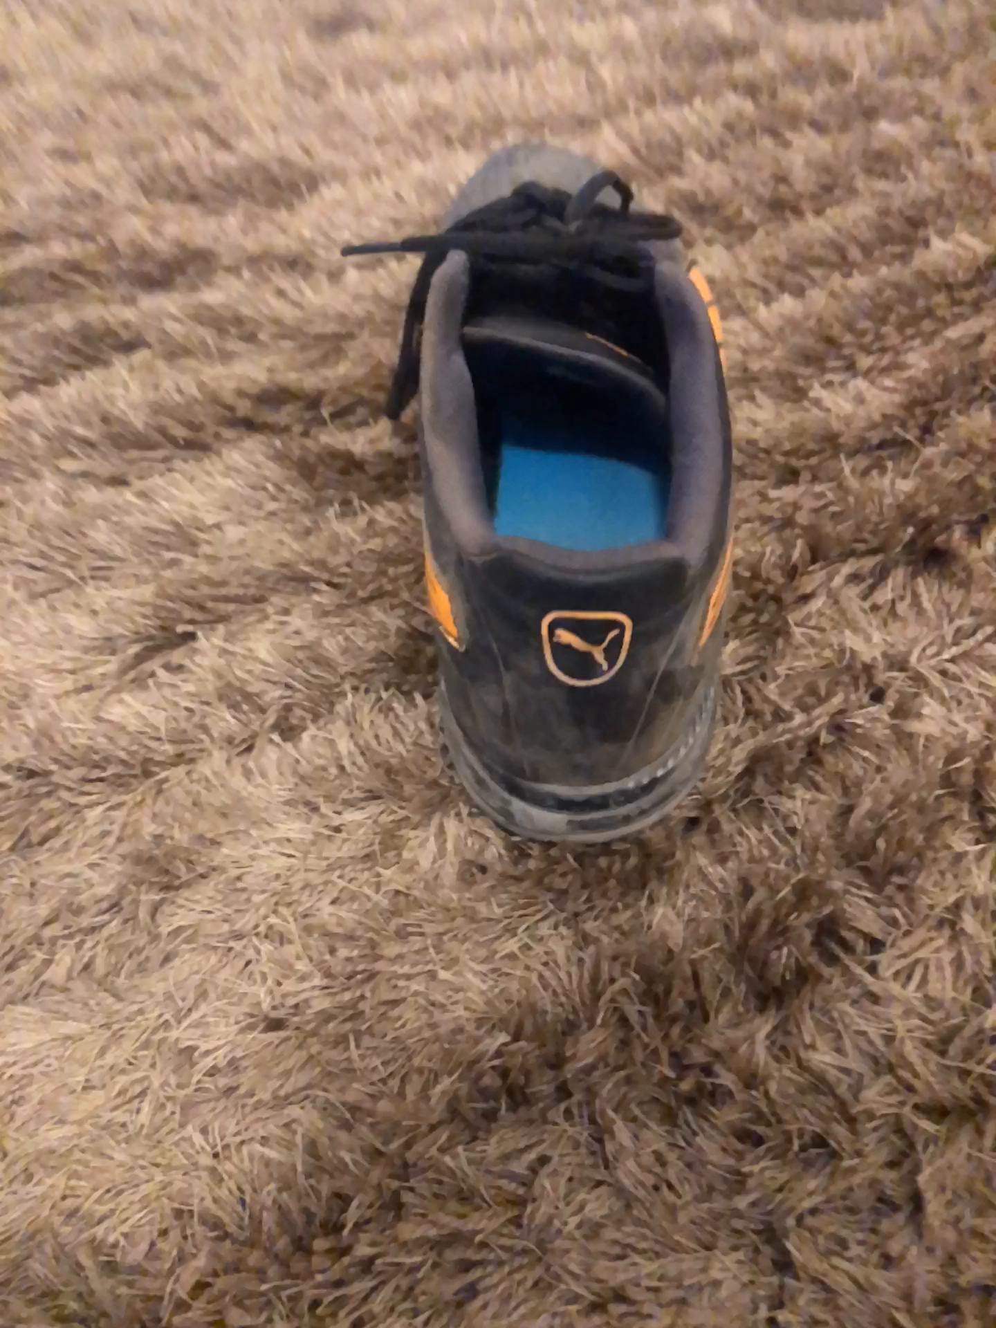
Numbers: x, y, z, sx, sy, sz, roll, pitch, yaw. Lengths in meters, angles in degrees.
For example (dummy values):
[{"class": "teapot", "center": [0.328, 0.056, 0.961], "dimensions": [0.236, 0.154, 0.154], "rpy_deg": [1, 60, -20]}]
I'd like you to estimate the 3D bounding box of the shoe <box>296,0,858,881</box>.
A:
[{"class": "shoe", "center": [0.015, -0.092, 0.367], "dimensions": [0.122, 0.110, 0.302], "rpy_deg": [1, 57, -2]}]
